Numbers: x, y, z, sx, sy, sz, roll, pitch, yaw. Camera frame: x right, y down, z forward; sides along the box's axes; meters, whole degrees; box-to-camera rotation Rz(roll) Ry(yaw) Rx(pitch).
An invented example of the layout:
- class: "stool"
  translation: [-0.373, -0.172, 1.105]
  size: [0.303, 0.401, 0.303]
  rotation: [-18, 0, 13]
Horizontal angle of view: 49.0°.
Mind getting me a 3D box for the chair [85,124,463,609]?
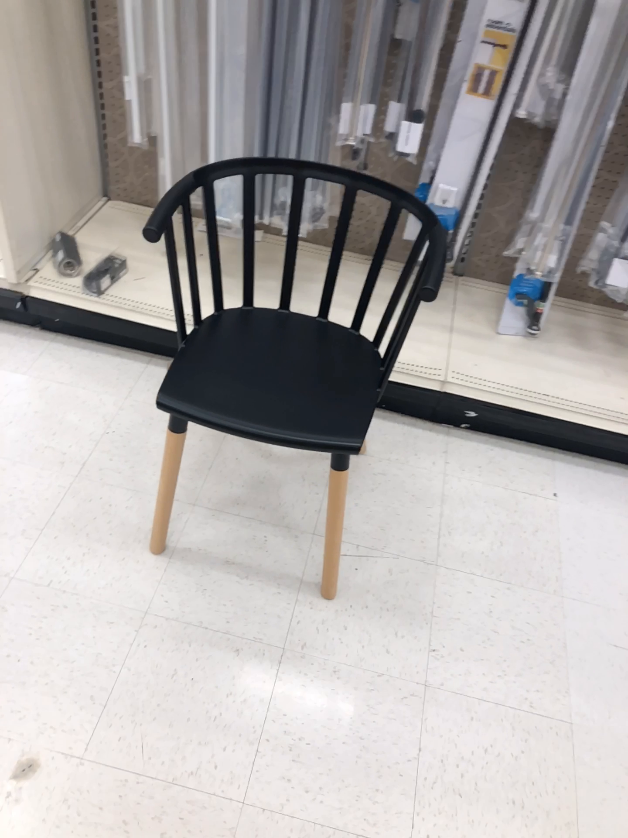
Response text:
- class: "chair"
  translation: [-0.062, -0.104, 1.462]
  size: [0.534, 0.730, 0.570]
  rotation: [14, 43, 5]
